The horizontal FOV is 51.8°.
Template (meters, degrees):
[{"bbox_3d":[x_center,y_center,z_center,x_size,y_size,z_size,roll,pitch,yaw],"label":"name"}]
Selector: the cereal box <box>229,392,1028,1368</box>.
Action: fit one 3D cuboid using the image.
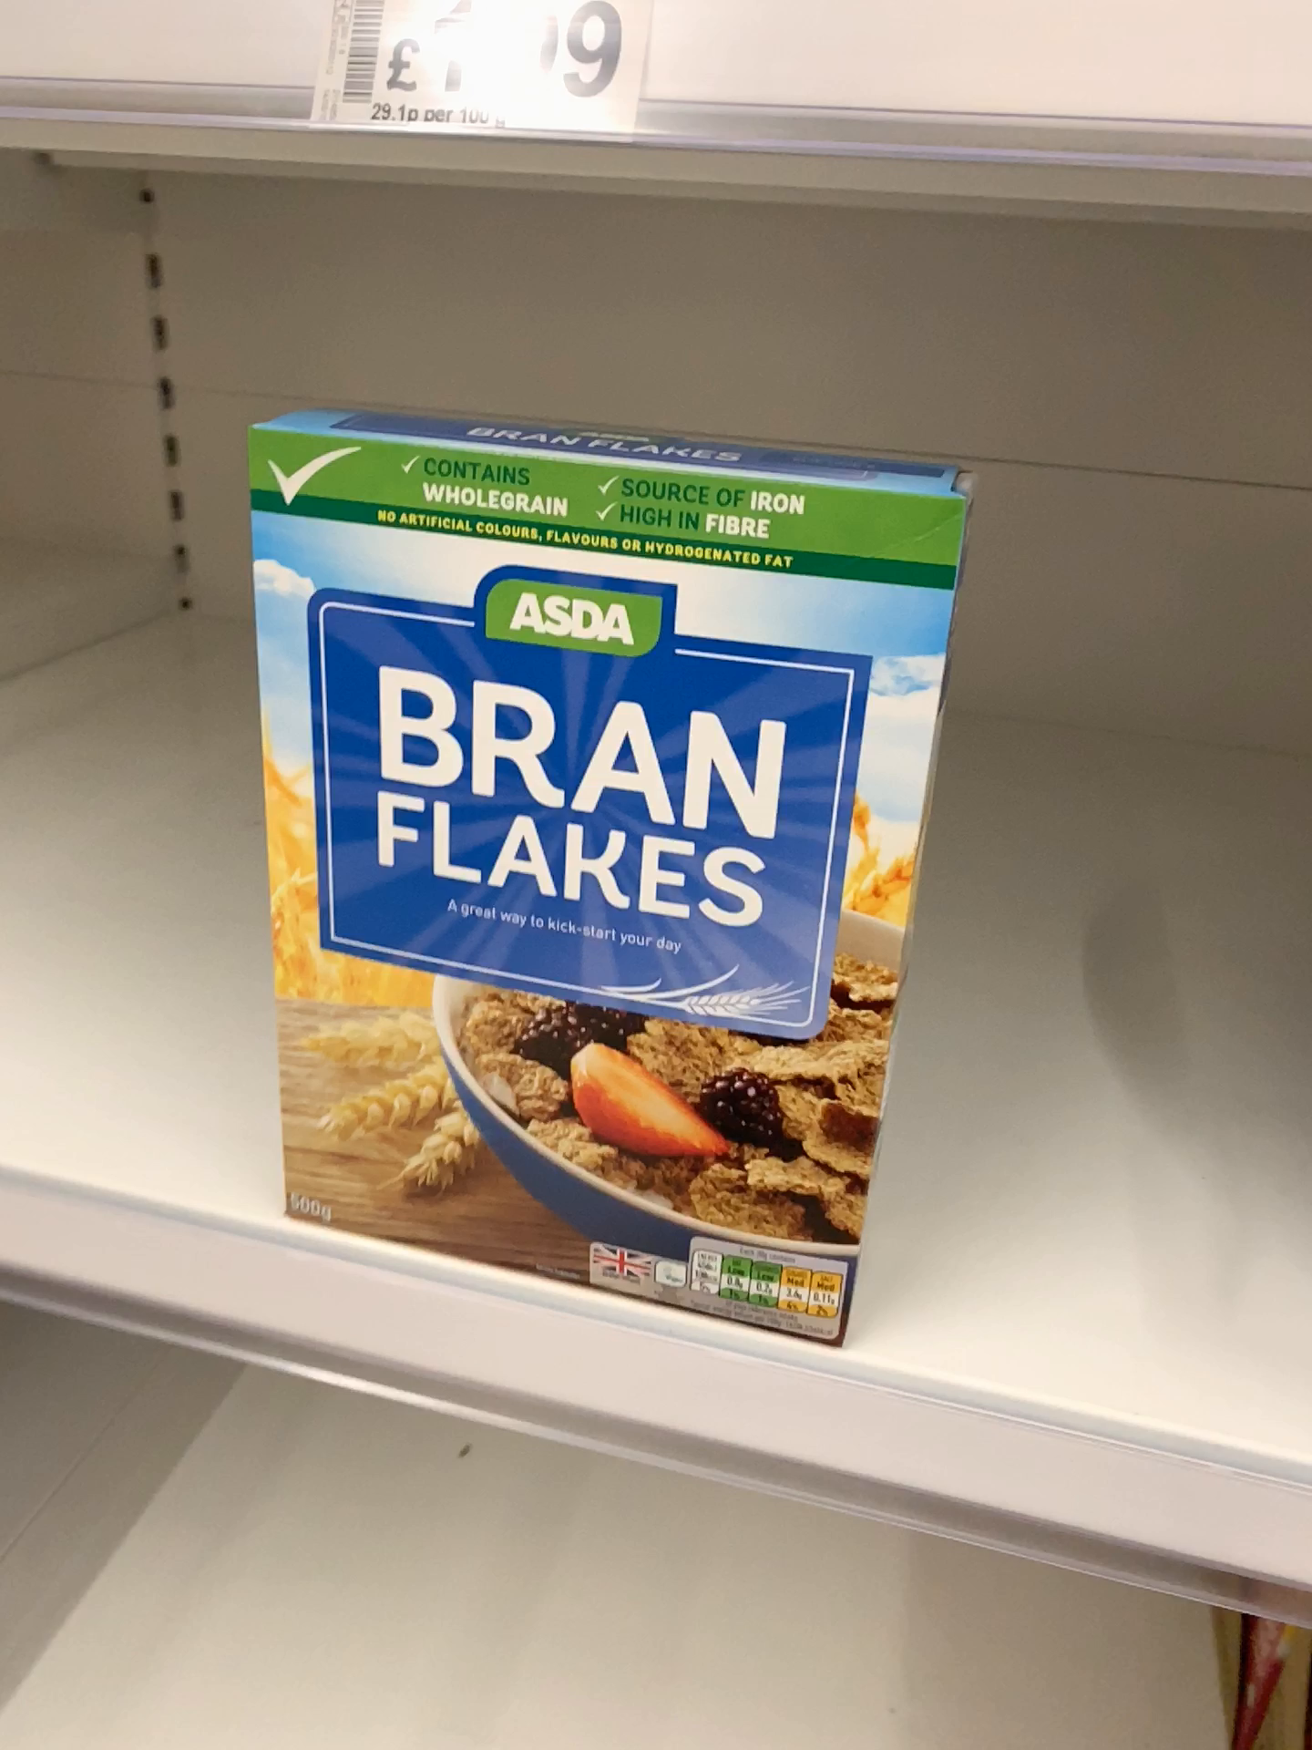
[{"bbox_3d":[-0.014,-0.002,0.445,0.220,0.278,0.081,9,22,13],"label":"cereal box"}]
